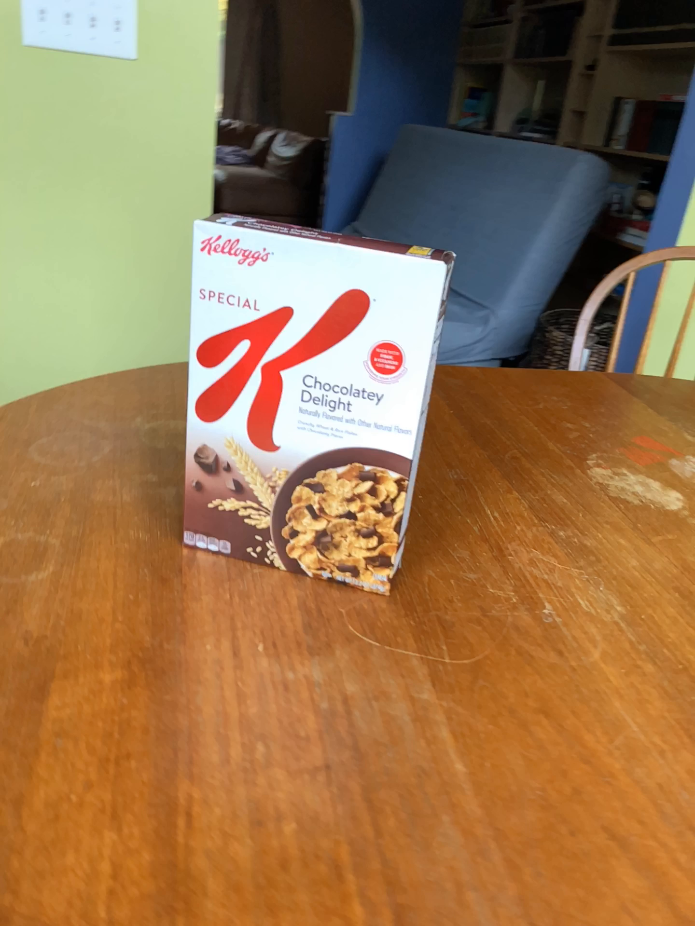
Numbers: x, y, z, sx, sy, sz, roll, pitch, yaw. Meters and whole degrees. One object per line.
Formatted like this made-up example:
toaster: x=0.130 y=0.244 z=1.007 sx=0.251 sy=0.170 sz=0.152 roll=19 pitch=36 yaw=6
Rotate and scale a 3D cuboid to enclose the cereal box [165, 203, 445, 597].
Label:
cereal box: x=-0.045 y=-0.047 z=0.626 sx=0.200 sy=0.288 sz=0.050 roll=12 pitch=25 yaw=11
